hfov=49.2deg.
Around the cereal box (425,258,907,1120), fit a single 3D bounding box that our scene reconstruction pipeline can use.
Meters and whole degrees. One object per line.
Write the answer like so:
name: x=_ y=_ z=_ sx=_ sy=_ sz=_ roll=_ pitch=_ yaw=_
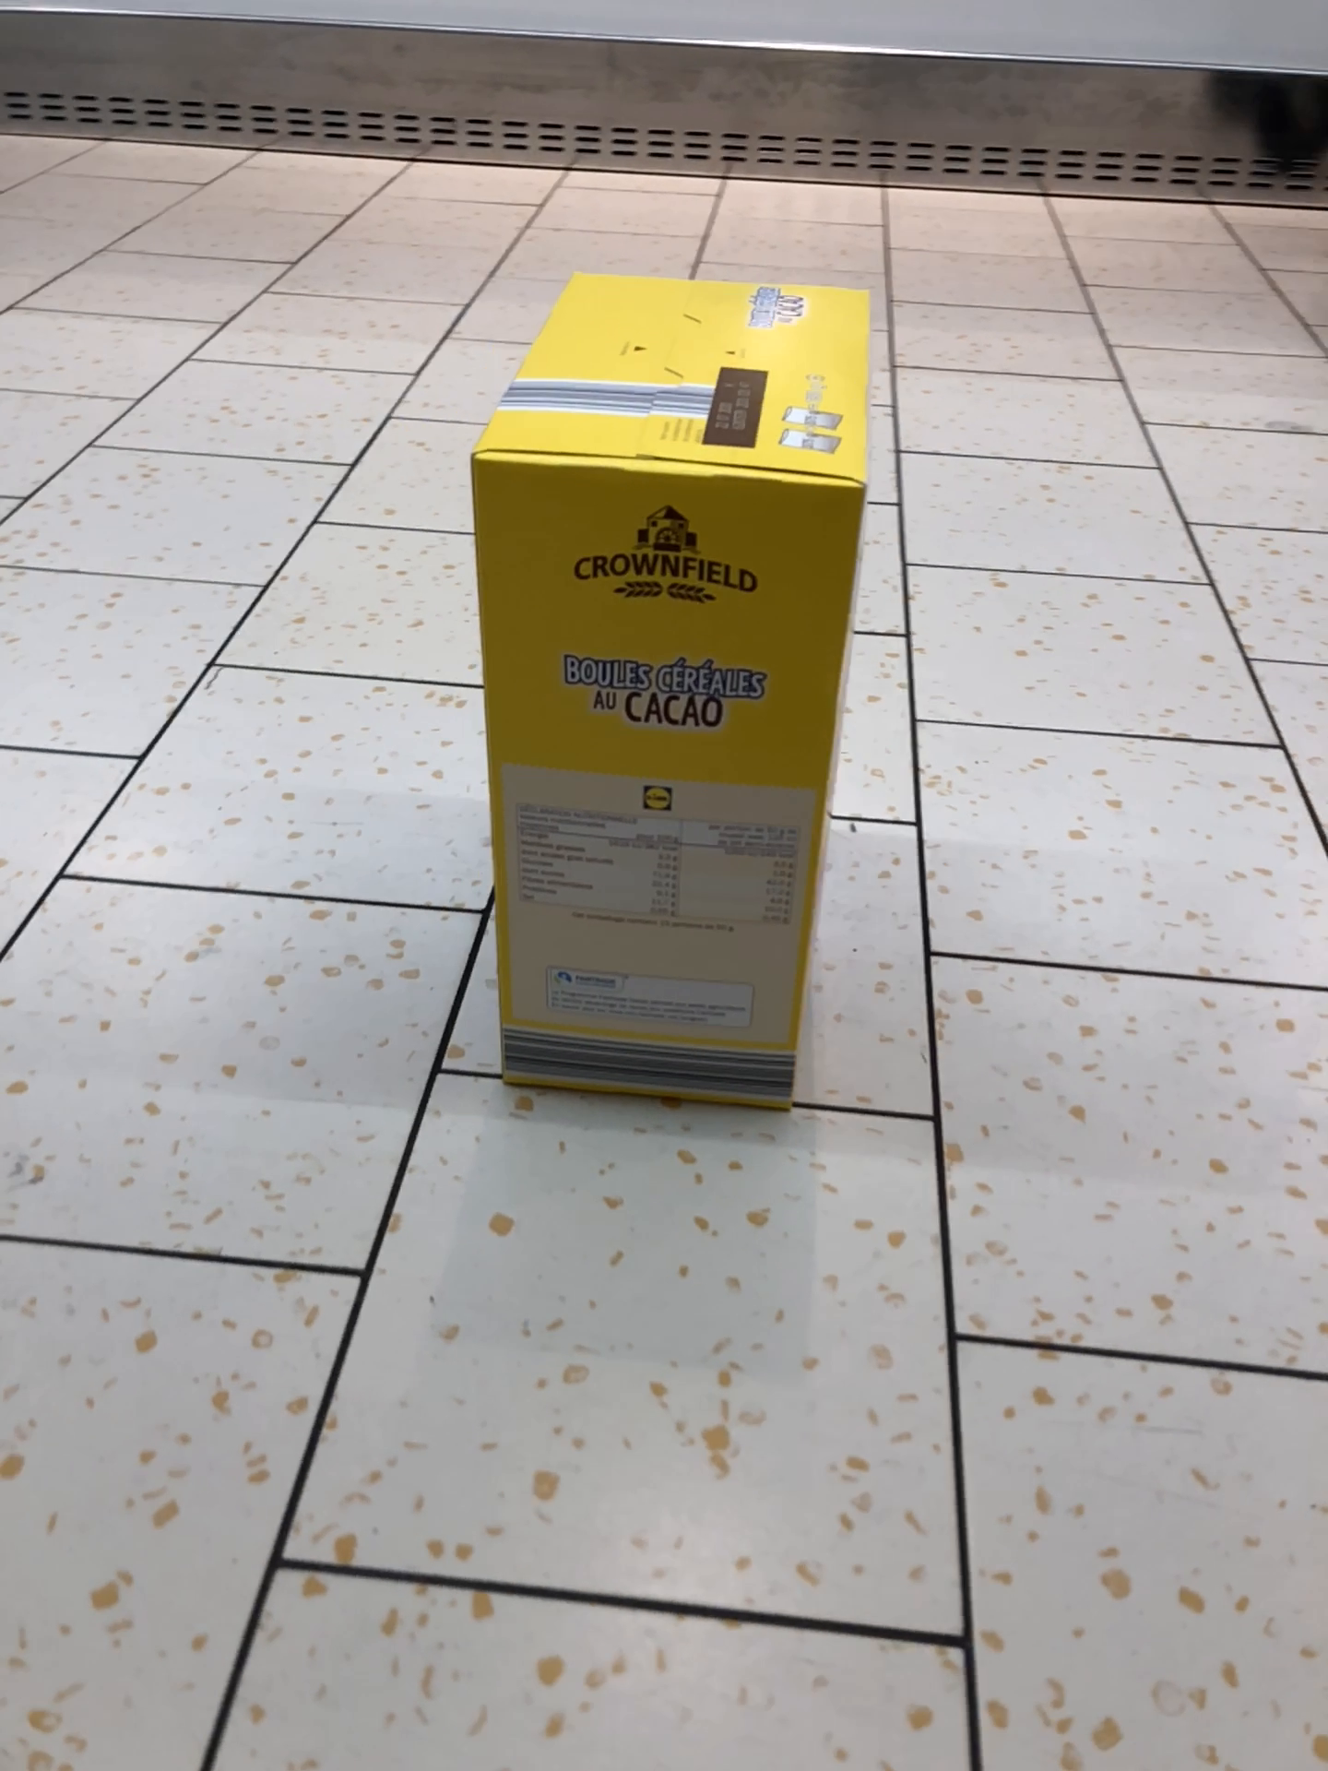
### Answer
cereal box: x=0.008 y=-0.079 z=0.544 sx=0.130 sy=0.238 sz=0.211 roll=5 pitch=37 yaw=4
